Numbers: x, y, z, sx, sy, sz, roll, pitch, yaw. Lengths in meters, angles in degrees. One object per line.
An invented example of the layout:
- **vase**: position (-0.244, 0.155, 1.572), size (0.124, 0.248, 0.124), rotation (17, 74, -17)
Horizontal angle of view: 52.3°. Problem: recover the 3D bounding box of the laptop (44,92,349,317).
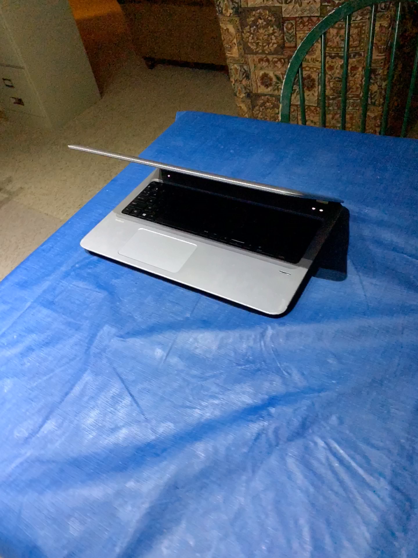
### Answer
- **laptop**: position (-0.013, -0.141, 0.663), size (0.366, 0.156, 0.254), rotation (19, 53, 27)
